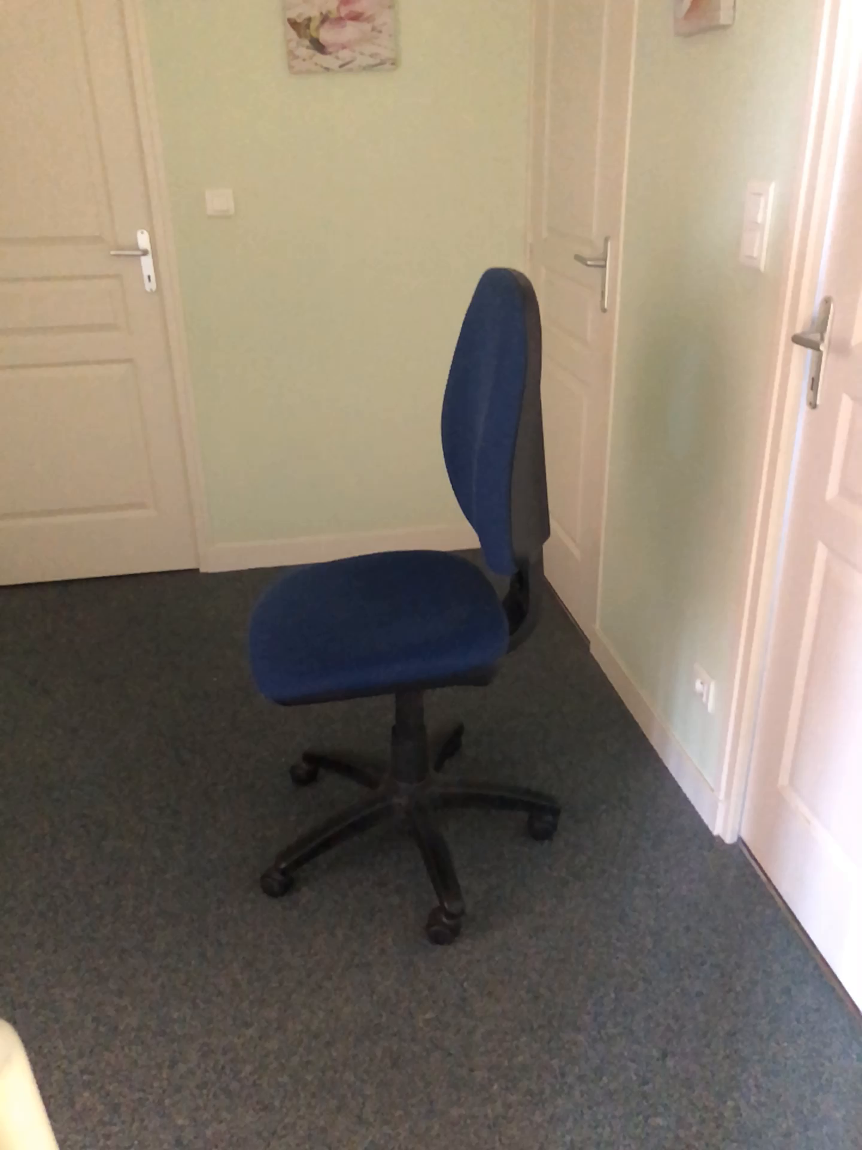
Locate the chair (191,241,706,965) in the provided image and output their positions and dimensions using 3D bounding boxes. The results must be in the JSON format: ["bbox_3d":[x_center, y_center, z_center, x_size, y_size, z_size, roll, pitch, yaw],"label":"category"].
[{"bbox_3d":[0.002,0.007,1.761,0.670,1.114,0.703,-3,25,-5],"label":"chair"}]
